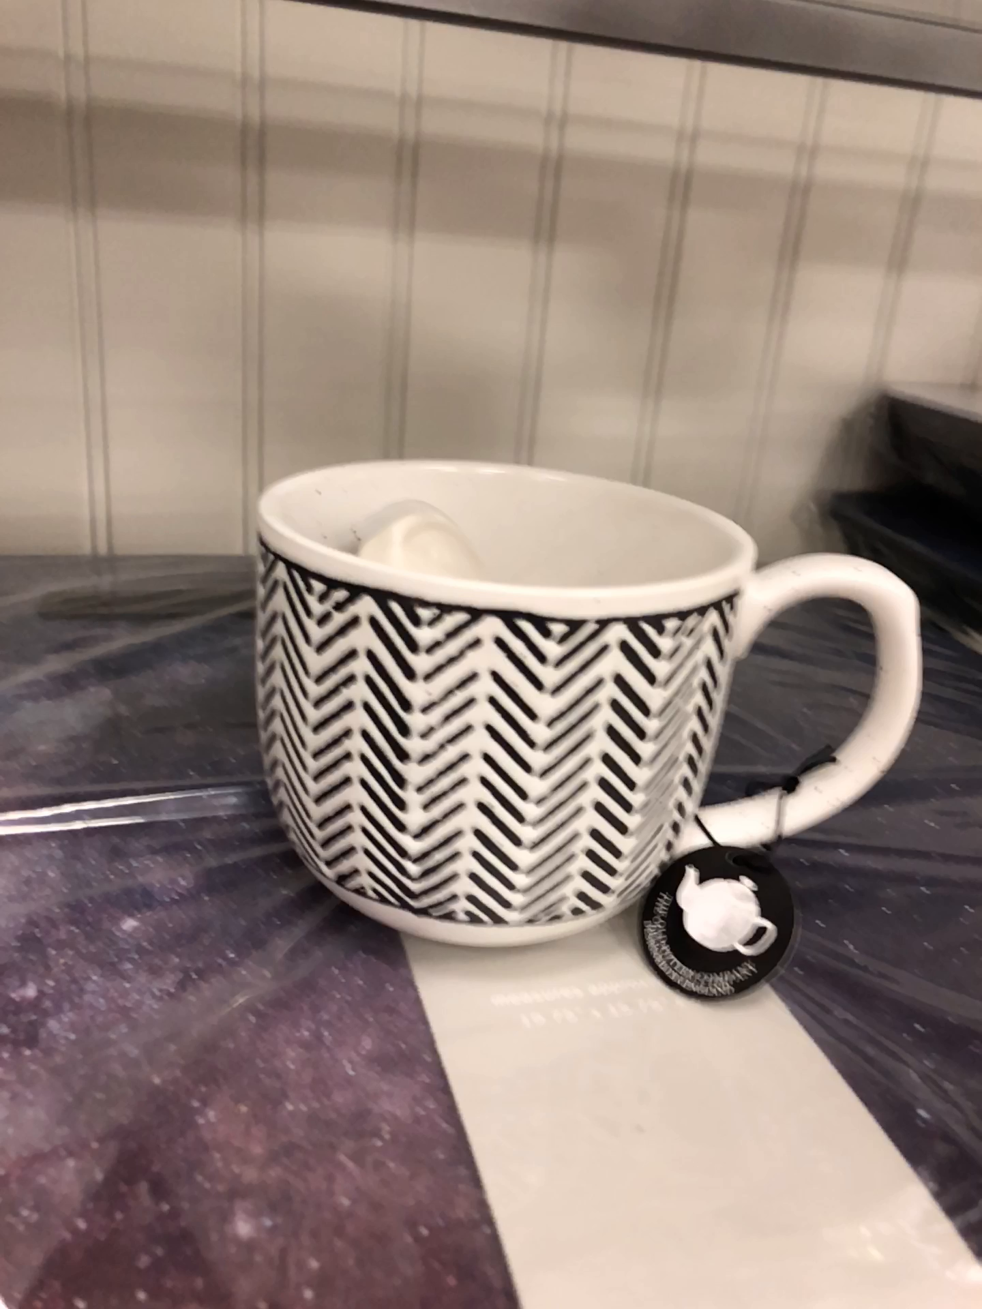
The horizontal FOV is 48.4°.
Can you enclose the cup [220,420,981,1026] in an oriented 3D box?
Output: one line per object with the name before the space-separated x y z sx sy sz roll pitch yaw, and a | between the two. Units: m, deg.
cup | 0.026 0.006 0.229 0.140 0.079 0.091 6 22 3
